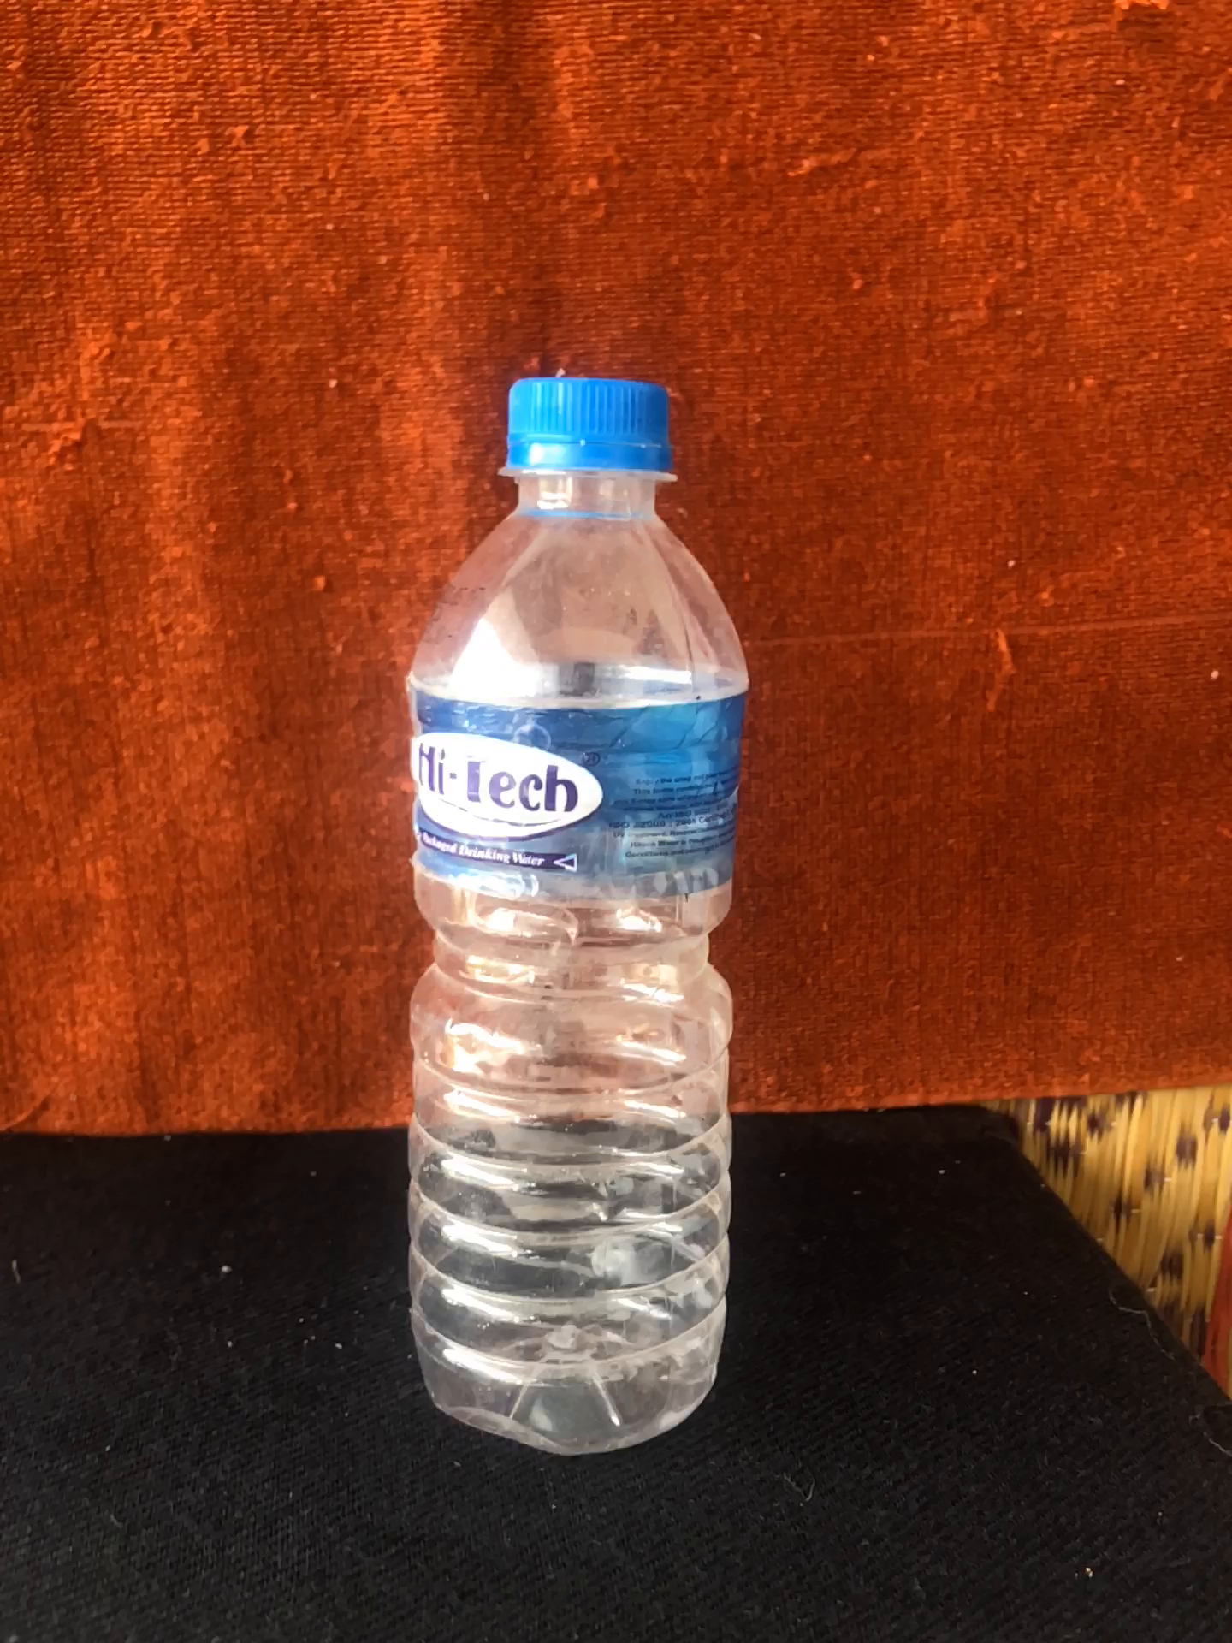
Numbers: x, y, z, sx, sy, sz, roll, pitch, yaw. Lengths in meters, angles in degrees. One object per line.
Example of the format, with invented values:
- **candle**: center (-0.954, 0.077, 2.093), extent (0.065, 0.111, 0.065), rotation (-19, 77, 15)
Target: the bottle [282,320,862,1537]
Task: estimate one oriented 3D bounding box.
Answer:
- **bottle**: center (-0.006, 0.014, 0.253), extent (0.070, 0.189, 0.070), rotation (0, 13, 0)
